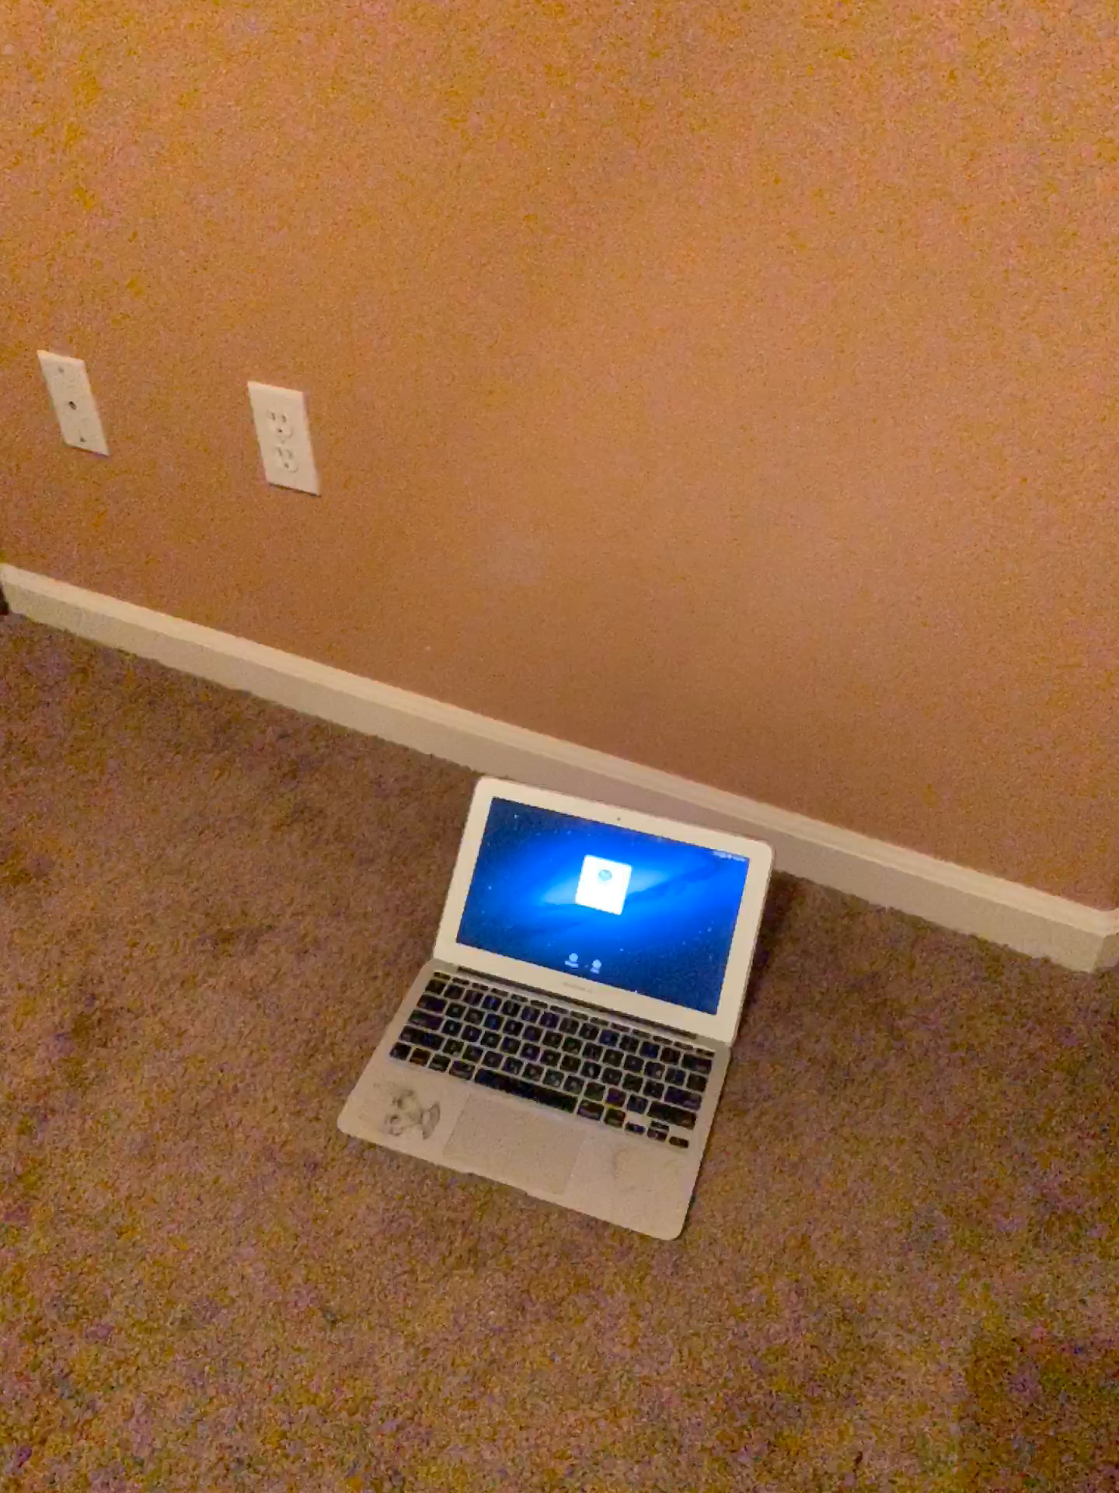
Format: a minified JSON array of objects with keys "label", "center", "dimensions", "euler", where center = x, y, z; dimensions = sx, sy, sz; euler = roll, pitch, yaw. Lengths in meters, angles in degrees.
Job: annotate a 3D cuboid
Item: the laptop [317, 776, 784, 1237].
[{"label":"laptop","center":[0.010,0.203,1.003],"dimensions":[0.298,0.116,0.326],"euler":[13,41,15]}]
